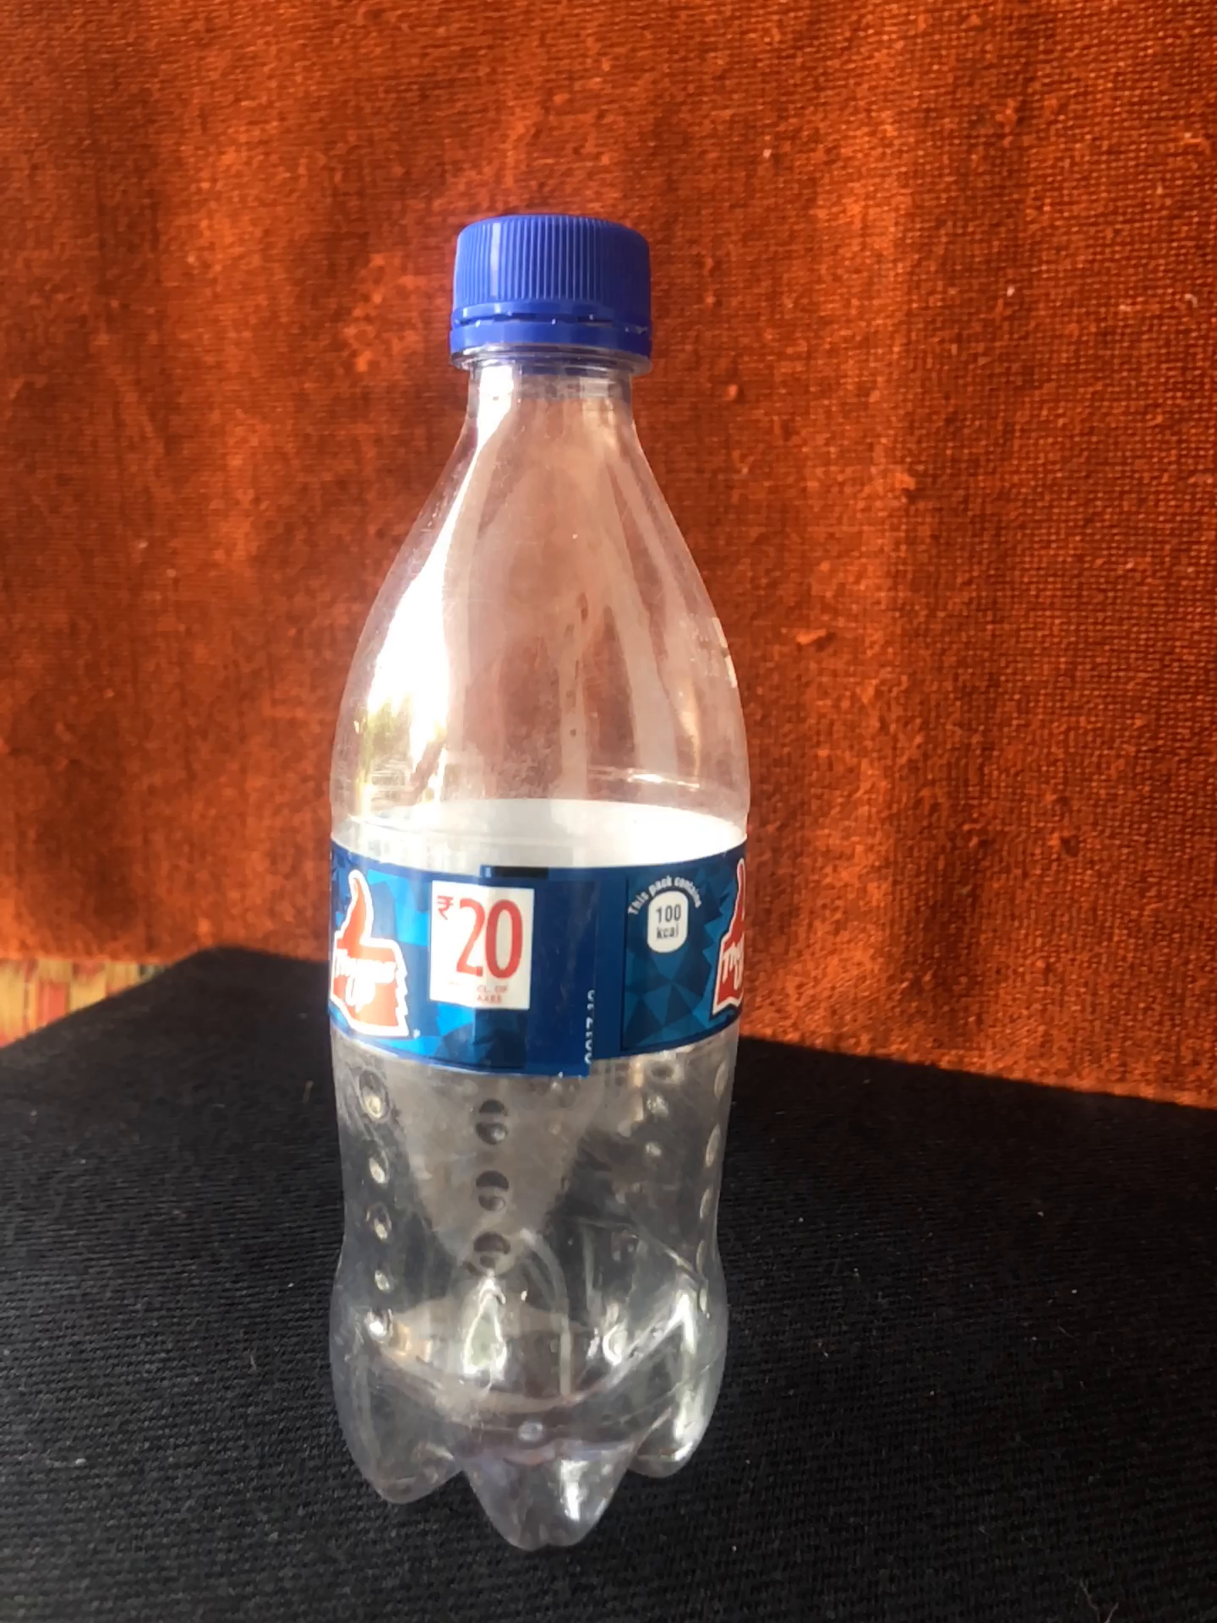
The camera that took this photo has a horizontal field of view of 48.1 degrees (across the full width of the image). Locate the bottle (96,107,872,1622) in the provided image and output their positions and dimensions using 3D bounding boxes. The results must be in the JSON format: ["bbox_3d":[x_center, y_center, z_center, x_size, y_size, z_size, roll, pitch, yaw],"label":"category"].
[{"bbox_3d":[-0.010,0.007,0.150,0.060,0.140,0.050,6,14,20],"label":"bottle"}]
